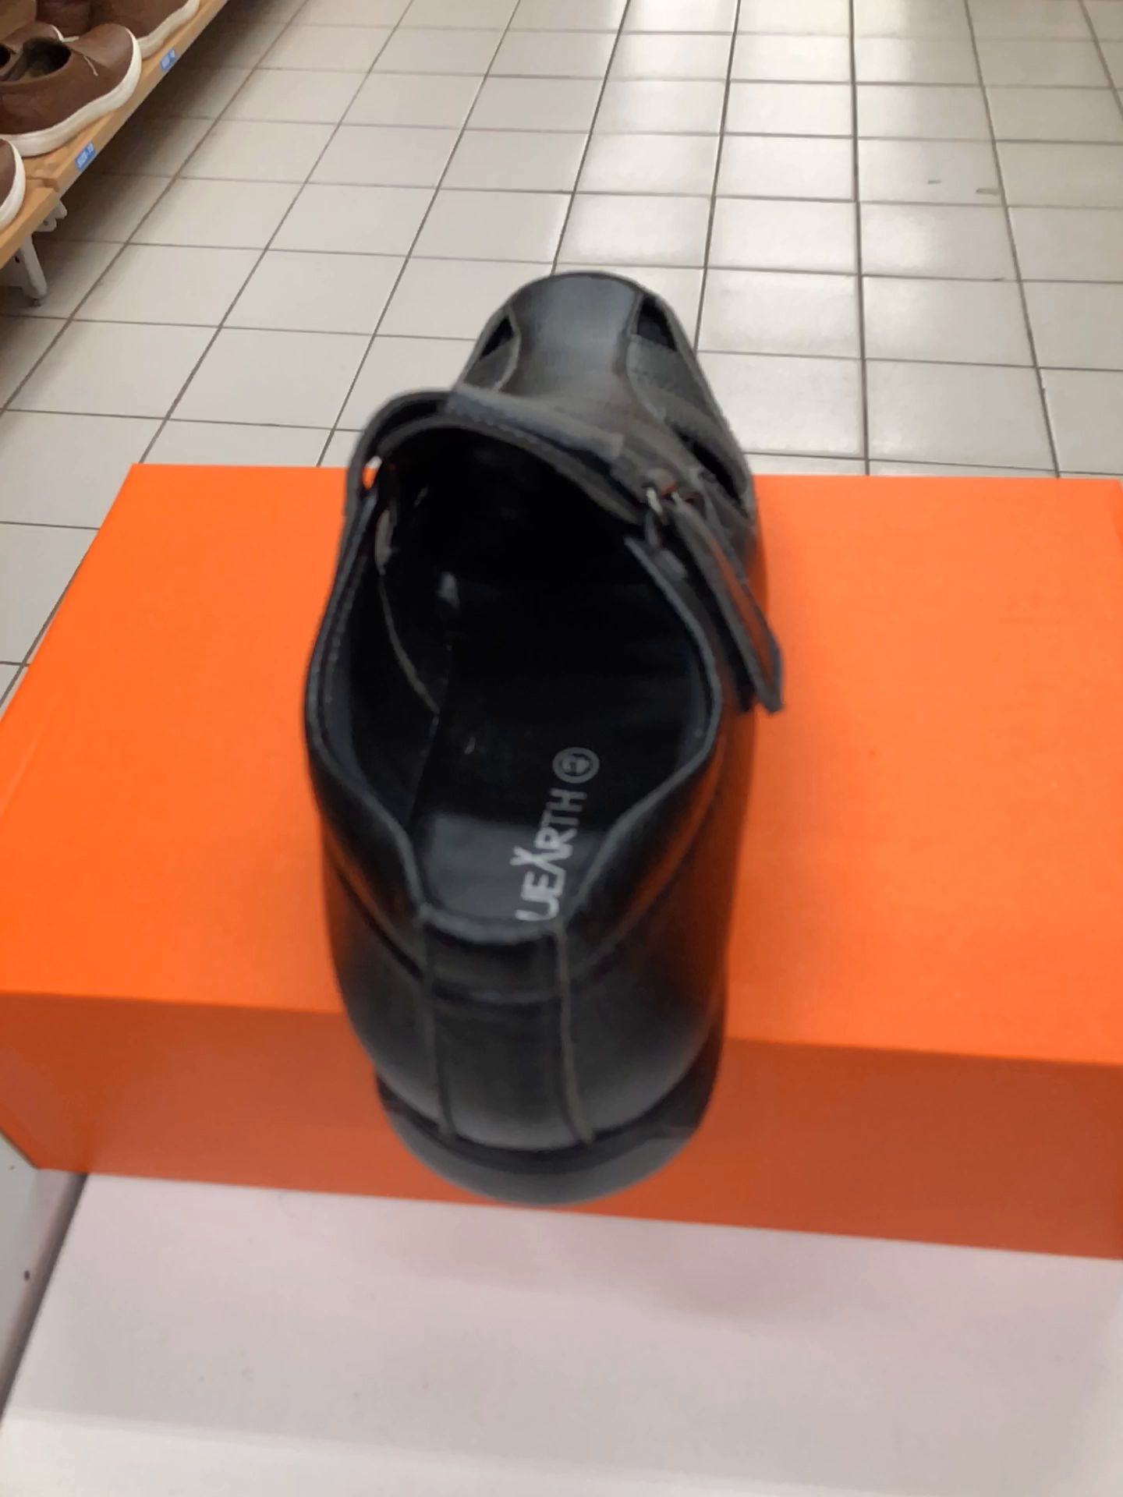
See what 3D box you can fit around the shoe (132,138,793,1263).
[{"bbox_3d":[0.001,-0.042,0.320,0.100,0.099,0.302,3,49,5],"label":"shoe"}]
